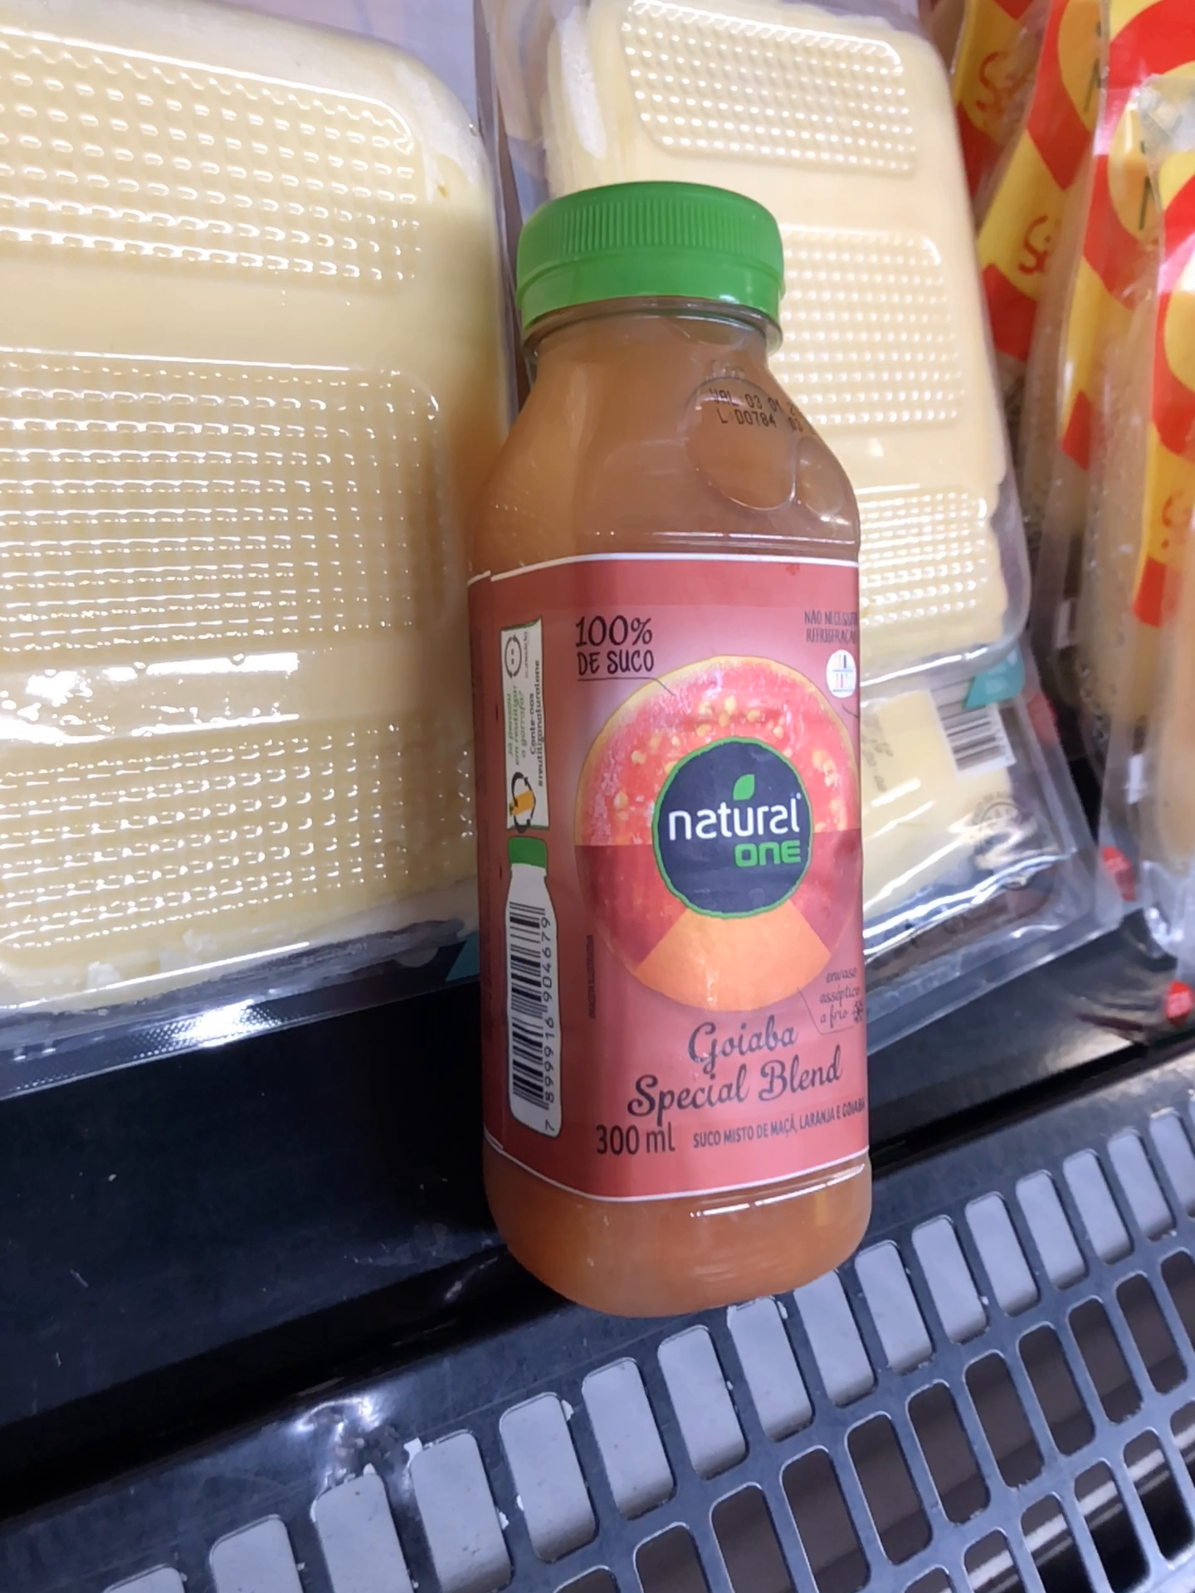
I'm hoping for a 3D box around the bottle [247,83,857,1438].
[{"bbox_3d":[-0.012,-0.006,0.222,0.060,0.070,0.180,-3,87,-32],"label":"bottle"}]
